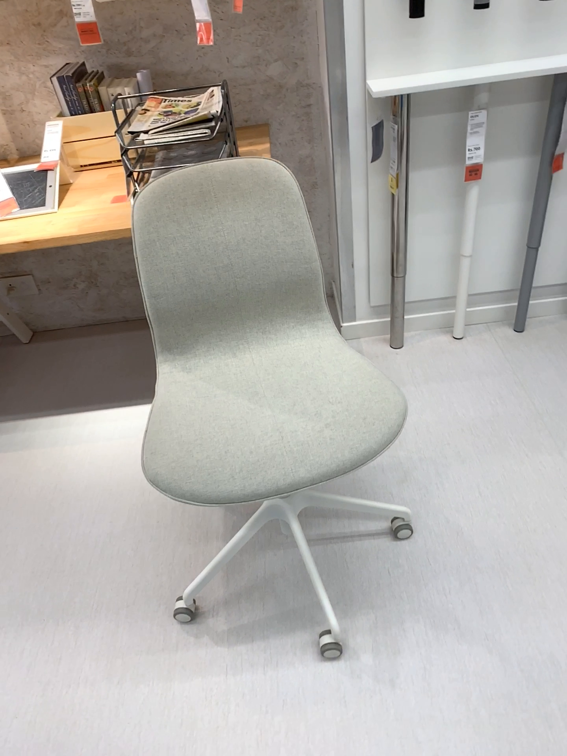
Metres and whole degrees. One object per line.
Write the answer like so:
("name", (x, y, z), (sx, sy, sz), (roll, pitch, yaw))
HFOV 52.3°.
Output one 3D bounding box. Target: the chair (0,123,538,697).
("chair", (-0.021, 0.063, 1.201), (0.660, 0.866, 0.663), (-10, 38, -3))
